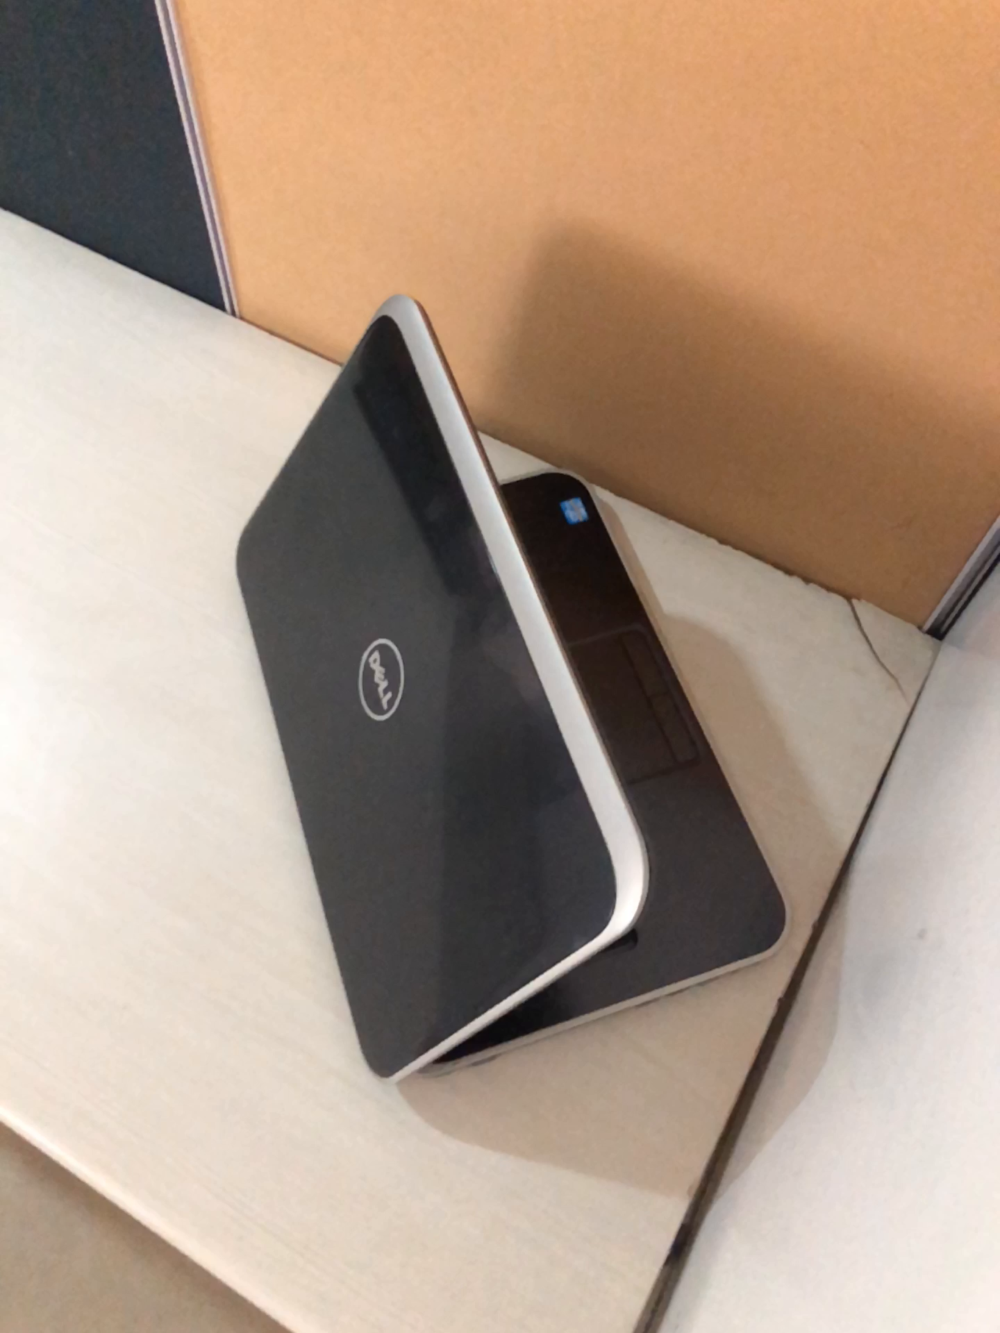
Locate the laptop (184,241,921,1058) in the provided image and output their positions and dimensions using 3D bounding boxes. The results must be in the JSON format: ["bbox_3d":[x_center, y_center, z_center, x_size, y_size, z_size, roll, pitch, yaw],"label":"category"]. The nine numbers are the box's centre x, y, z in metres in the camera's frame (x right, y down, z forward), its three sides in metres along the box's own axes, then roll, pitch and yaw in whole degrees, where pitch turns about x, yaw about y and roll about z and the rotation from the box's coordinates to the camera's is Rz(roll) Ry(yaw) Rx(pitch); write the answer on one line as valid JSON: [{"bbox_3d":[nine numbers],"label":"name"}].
[{"bbox_3d":[0.002,-0.013,0.602,0.240,0.193,0.349,-15,63,-10],"label":"laptop"}]
